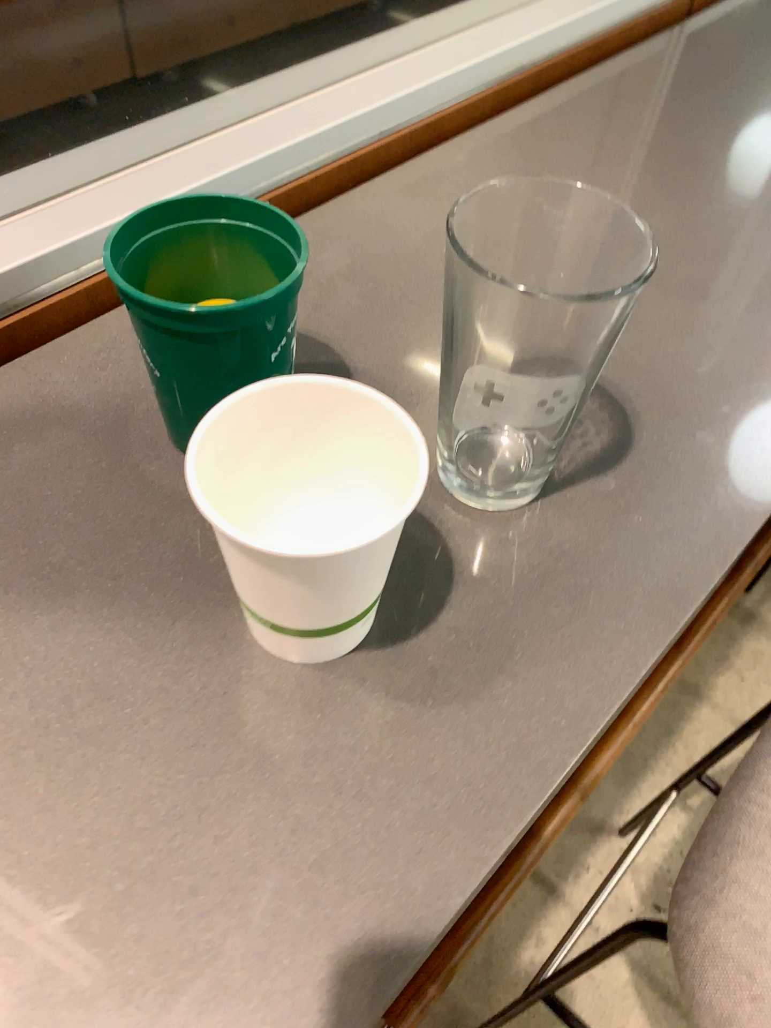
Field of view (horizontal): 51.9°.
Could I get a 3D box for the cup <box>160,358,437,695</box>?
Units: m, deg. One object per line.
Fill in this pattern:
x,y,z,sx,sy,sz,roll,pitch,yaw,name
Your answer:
-0.033,0.008,0.329,0.090,0.110,0.090,2,51,-2,cup

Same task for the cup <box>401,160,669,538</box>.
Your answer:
0.062,-0.072,0.374,0.090,0.139,0.090,2,51,-2,cup

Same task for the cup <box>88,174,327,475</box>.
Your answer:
-0.079,-0.093,0.399,0.090,0.110,0.090,2,51,-2,cup
